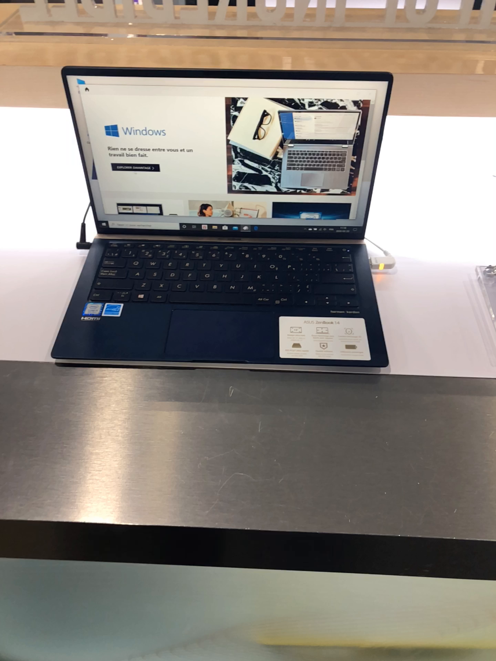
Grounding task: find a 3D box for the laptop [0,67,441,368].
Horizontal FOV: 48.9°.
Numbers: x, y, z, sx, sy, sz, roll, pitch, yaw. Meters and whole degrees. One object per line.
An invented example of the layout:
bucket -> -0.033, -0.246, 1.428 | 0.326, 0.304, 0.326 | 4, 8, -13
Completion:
laptop -> -0.022, -0.102, 0.488 | 0.301, 0.182, 0.192 | 1, 45, 0
